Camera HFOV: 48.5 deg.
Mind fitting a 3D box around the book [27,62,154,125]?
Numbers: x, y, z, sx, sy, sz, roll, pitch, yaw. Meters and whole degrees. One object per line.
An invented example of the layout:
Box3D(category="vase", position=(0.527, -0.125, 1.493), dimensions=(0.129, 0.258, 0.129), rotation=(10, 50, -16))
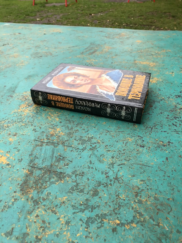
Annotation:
Box3D(category="book", position=(0.007, -0.066, 0.392), dimensions=(0.208, 0.032, 0.139), rotation=(11, 38, 15))
